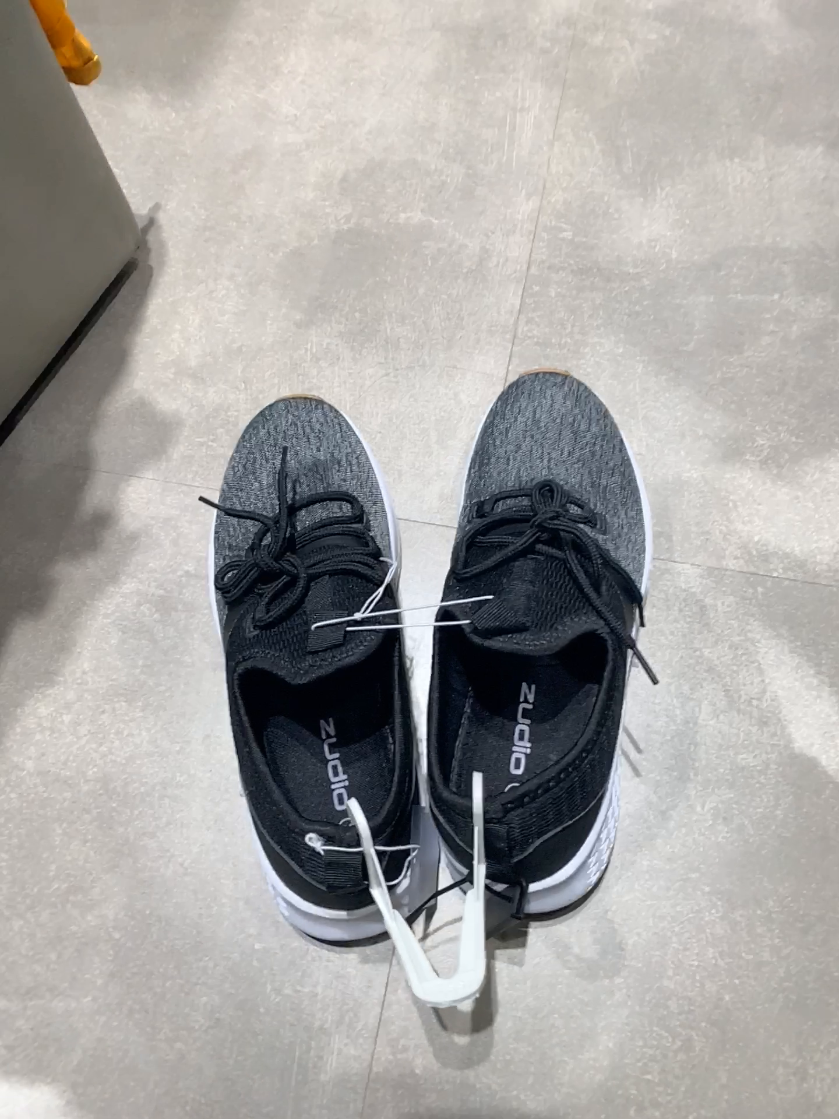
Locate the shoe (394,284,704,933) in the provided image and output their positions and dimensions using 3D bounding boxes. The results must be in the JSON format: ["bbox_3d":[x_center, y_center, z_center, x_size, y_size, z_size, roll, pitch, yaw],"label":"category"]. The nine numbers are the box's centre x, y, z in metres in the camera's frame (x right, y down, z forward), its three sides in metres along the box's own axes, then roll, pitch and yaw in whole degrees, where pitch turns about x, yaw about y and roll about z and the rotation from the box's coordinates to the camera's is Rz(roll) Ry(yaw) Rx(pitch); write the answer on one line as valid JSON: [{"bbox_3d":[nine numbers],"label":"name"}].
[{"bbox_3d":[0.066,0.017,0.402,0.107,0.096,0.278,6,67,7],"label":"shoe"}]

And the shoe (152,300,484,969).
[{"bbox_3d":[-0.050,0.028,0.402,0.106,0.096,0.278,-11,66,0],"label":"shoe"}]
